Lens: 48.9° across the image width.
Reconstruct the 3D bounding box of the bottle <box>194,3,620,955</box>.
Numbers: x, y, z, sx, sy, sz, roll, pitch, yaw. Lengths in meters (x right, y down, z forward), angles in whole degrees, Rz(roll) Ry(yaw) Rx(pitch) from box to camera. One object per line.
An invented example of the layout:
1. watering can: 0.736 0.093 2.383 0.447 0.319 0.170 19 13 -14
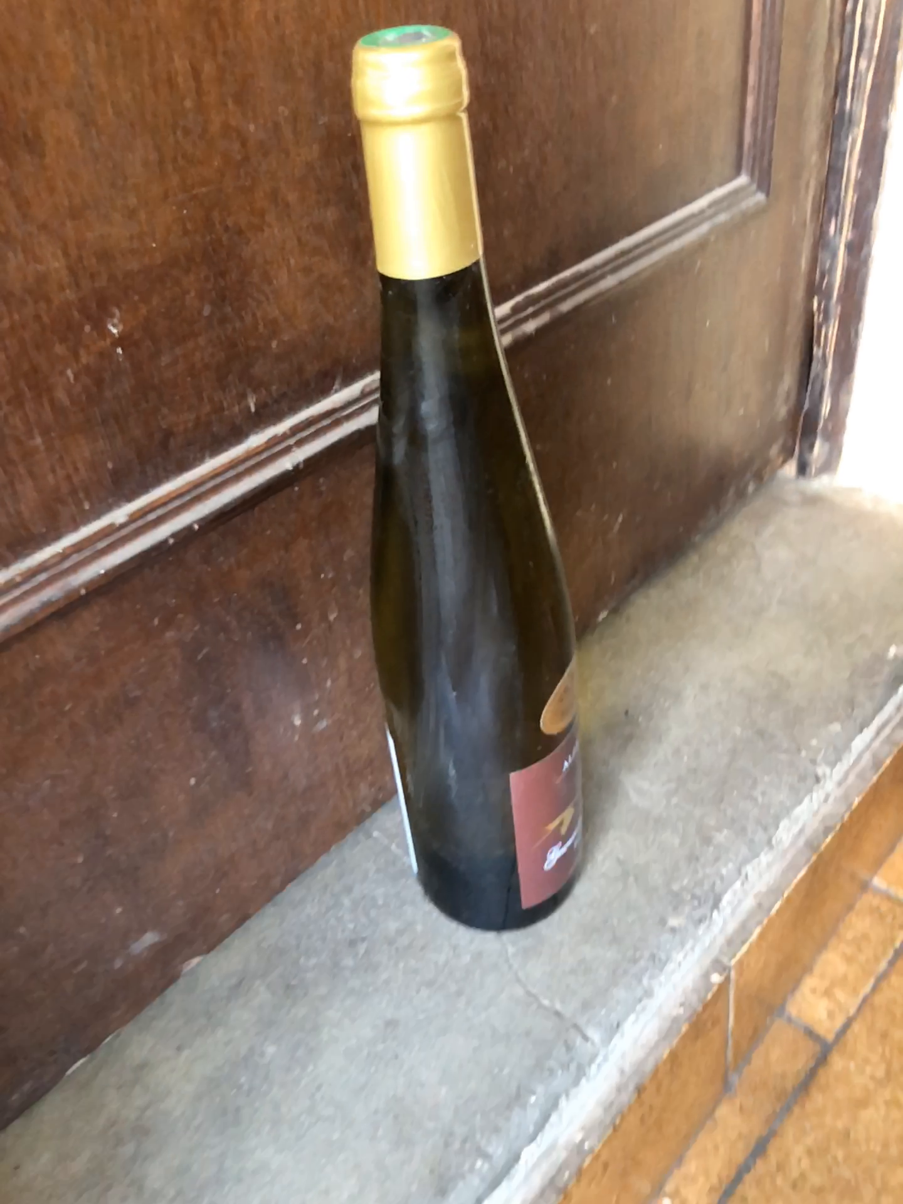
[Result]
1. bottle: 0.009 -0.012 0.331 0.080 0.308 0.081 -5 38 4
